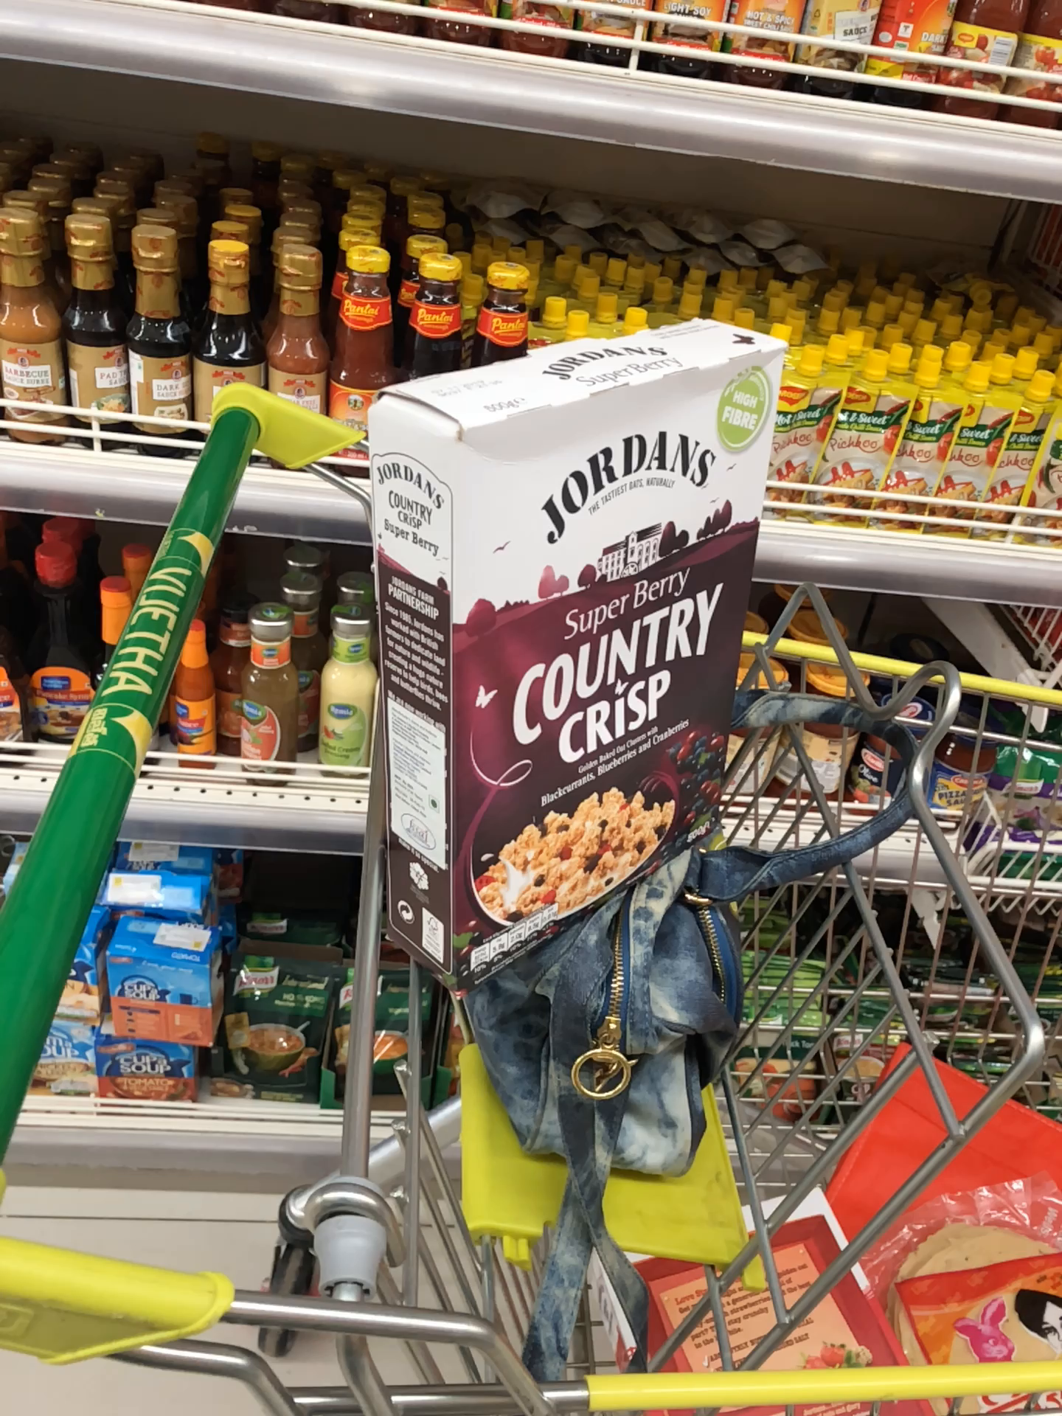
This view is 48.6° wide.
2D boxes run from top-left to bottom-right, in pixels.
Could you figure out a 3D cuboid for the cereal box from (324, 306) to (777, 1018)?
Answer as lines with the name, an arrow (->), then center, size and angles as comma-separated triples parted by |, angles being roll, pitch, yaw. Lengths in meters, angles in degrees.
cereal box -> 0.009, -0.023, 0.459 | 0.050, 0.229, 0.180 | 26, 37, 33
